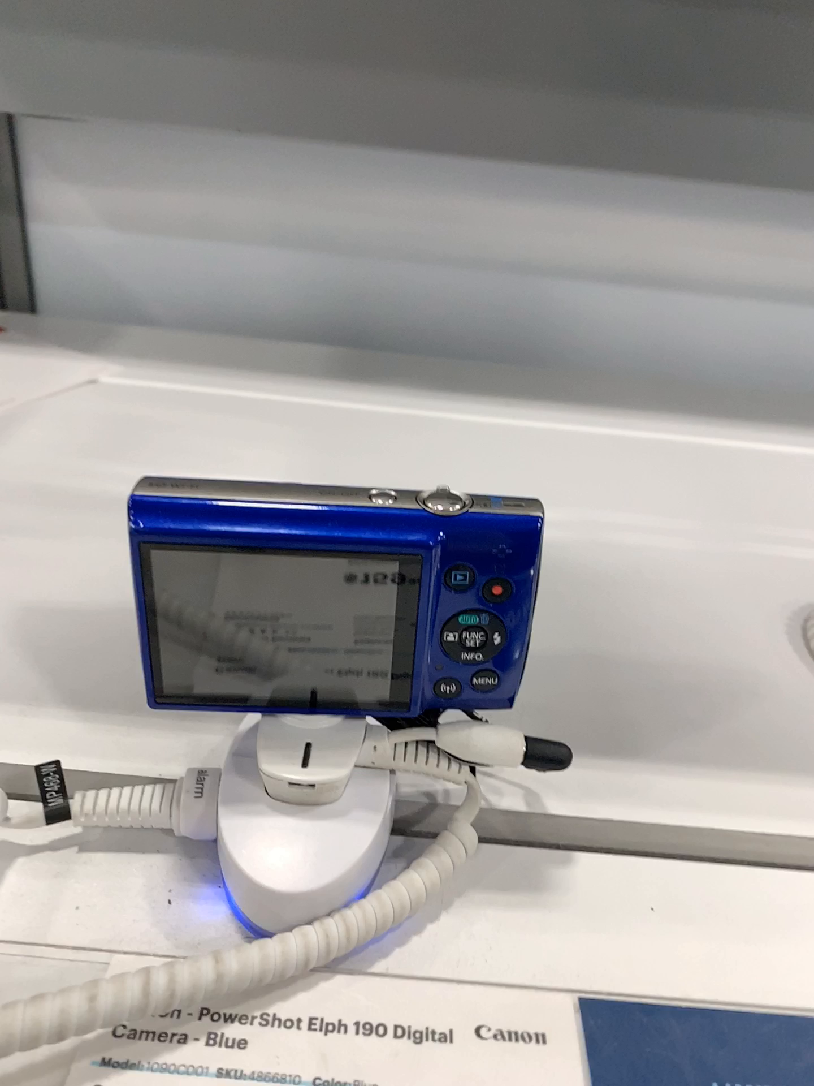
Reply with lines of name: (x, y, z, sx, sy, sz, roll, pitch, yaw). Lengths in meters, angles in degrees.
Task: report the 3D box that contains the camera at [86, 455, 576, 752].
camera: (-0.018, 0.016, 0.201, 0.100, 0.060, 0.027, 4, 32, -6)
